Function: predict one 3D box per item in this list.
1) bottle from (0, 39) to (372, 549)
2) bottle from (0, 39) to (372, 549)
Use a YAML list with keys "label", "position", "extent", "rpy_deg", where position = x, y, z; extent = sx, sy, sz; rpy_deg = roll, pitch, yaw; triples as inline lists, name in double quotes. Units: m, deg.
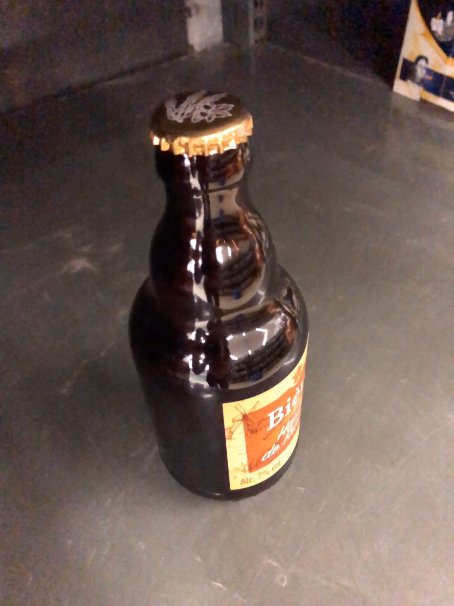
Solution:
- label: "bottle"
  position: [-0.005, 0.011, 0.196]
  extent: [0.070, 0.179, 0.070]
  rpy_deg: [-2, 45, 2]
- label: "bottle"
  position: [-0.005, 0.011, 0.196]
  extent: [0.070, 0.179, 0.070]
  rpy_deg: [-2, 45, 2]
